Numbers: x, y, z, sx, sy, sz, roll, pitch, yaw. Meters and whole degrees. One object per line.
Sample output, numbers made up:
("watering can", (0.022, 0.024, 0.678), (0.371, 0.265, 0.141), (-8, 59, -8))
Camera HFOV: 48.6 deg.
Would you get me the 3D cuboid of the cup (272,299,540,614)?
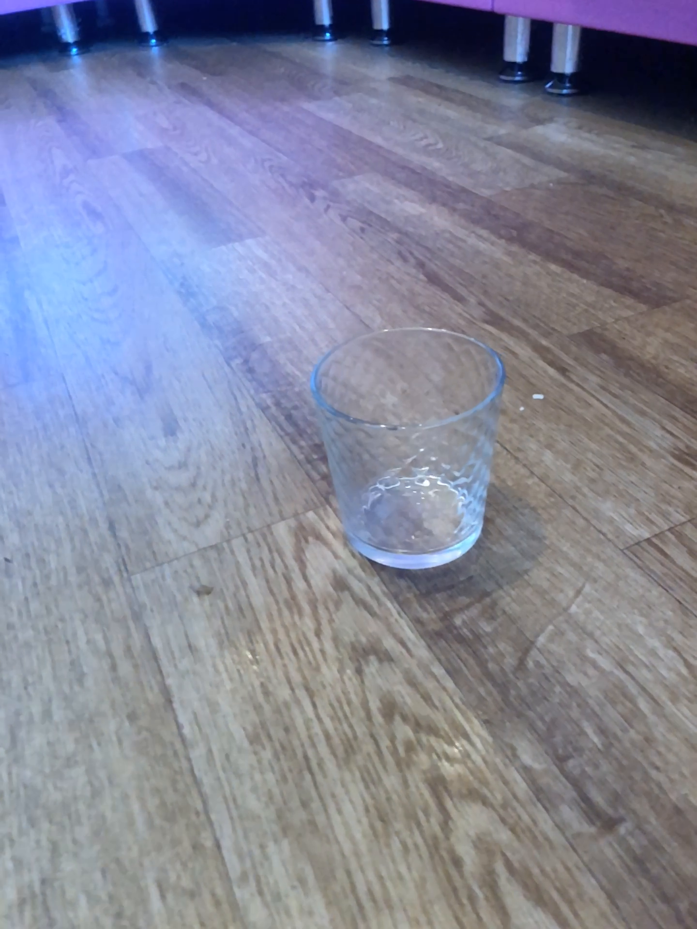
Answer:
("cup", (0.024, -0.006, 0.338), (0.080, 0.090, 0.080), (-4, 37, 3))
